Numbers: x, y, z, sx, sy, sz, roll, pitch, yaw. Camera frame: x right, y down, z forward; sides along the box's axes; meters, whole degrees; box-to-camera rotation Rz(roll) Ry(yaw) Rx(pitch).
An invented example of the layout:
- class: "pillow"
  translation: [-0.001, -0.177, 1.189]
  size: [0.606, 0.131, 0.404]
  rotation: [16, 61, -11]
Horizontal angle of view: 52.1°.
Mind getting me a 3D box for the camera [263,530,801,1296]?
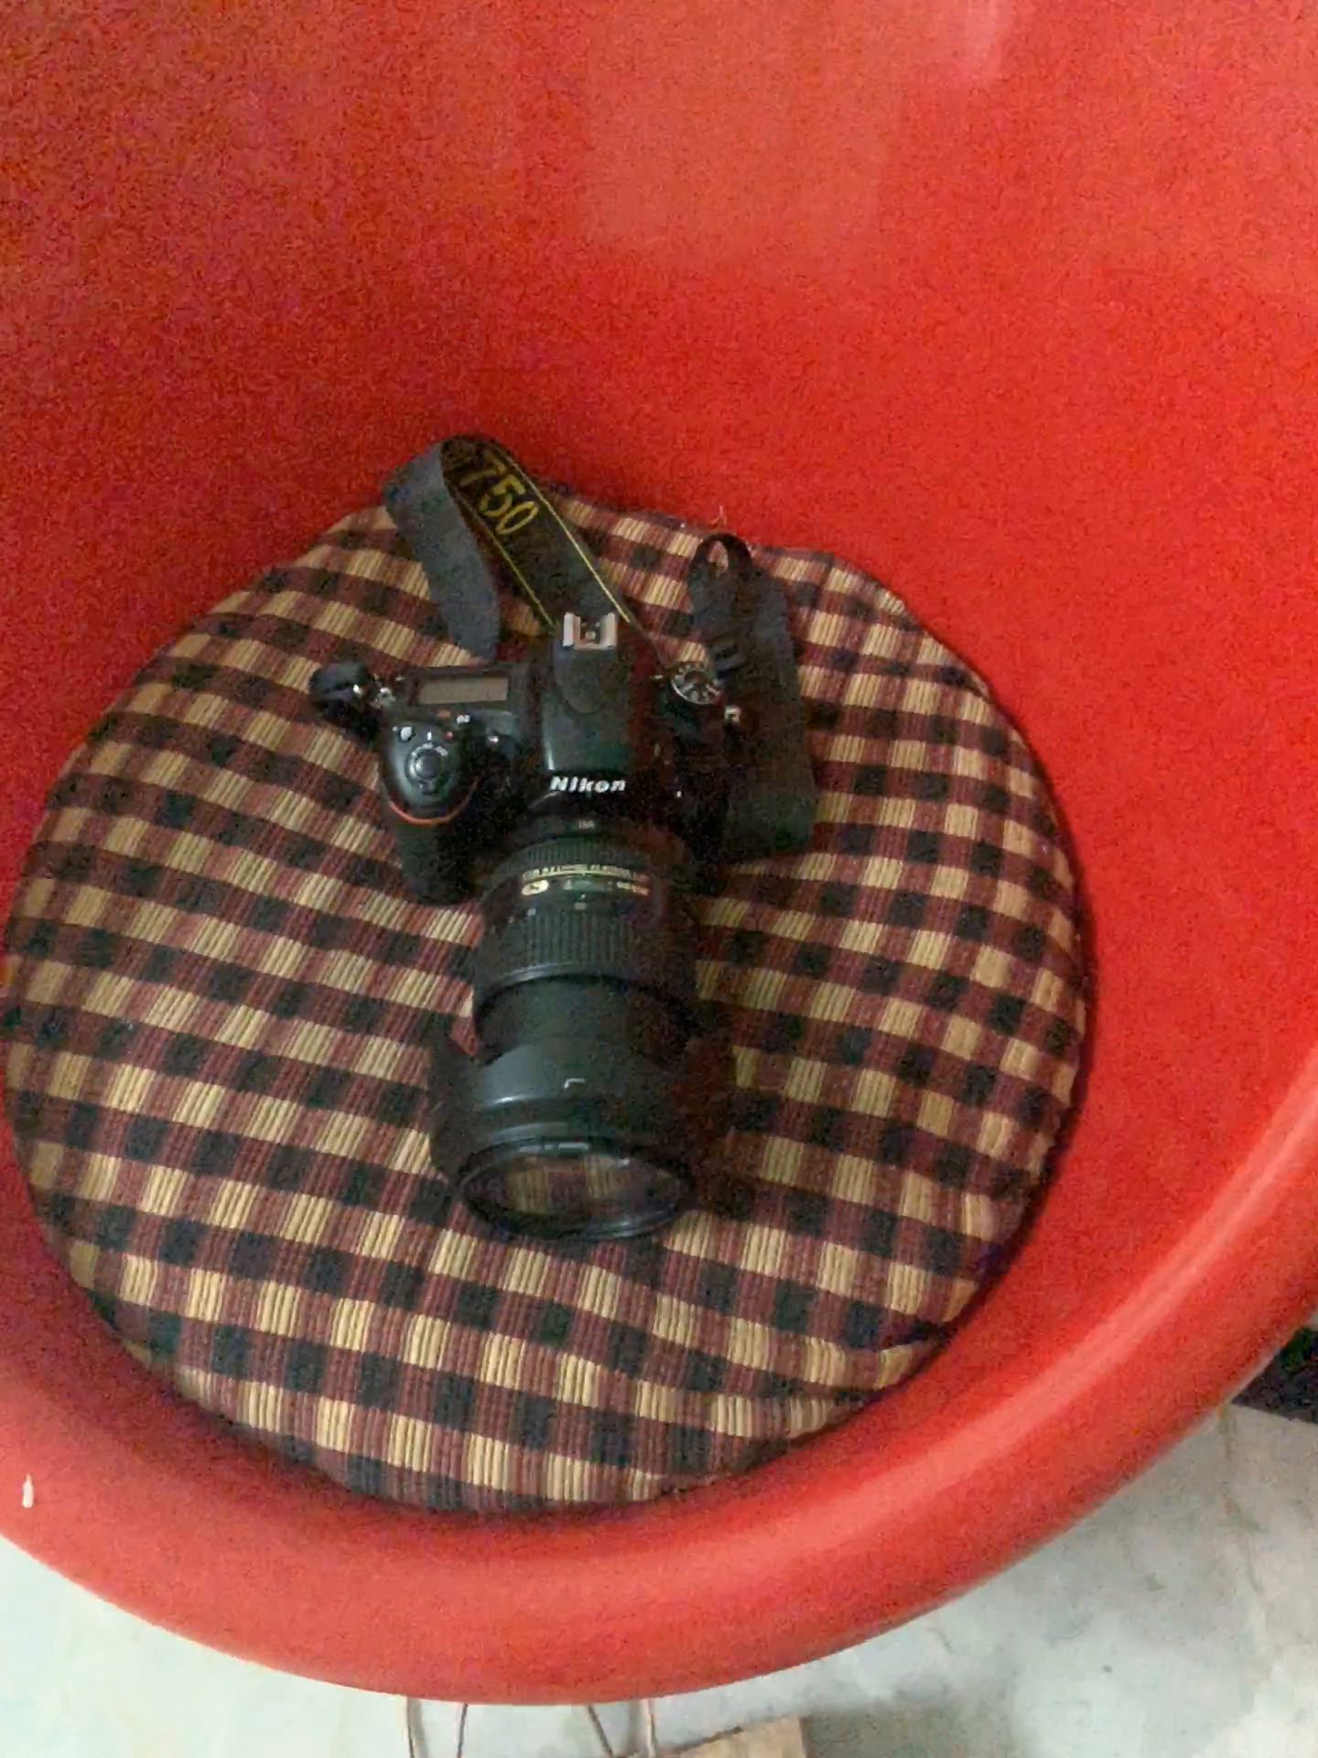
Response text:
- class: "camera"
  translation: [-0.042, 0.020, 0.540]
  size: [0.160, 0.180, 0.253]
  rotation: [0, 63, -2]
